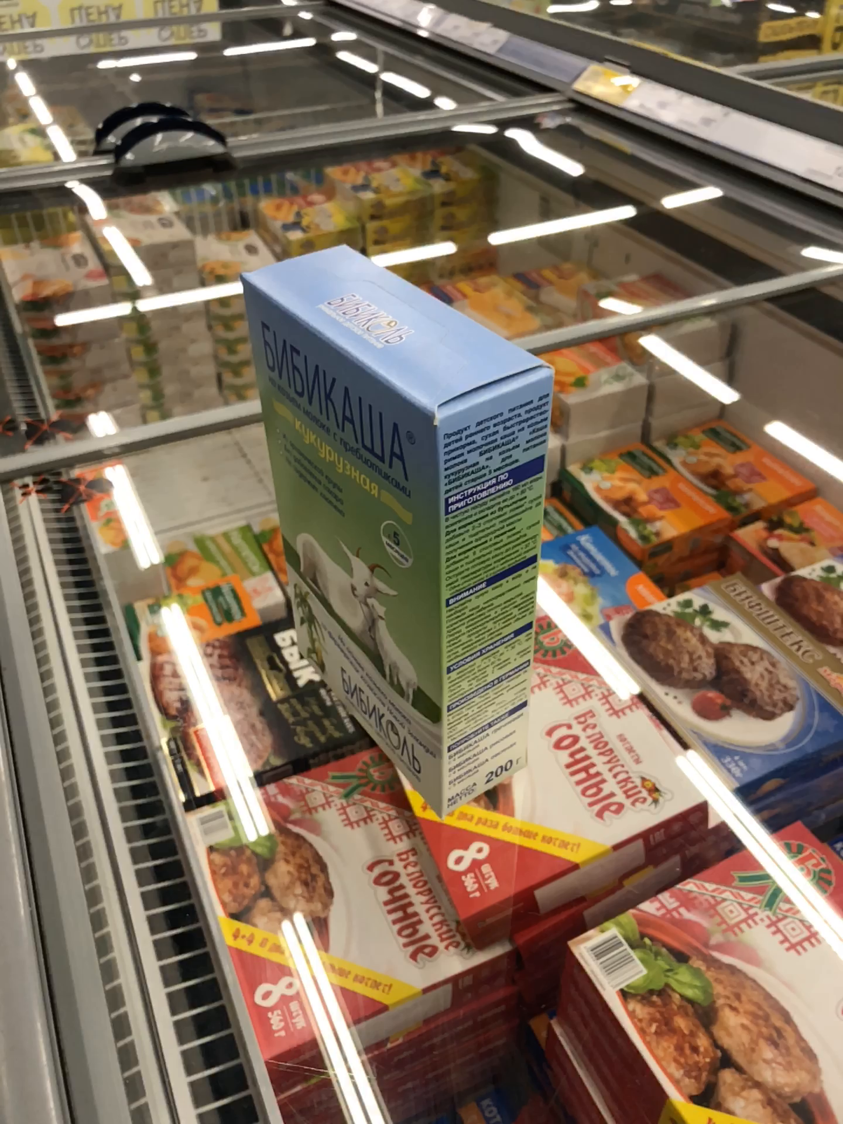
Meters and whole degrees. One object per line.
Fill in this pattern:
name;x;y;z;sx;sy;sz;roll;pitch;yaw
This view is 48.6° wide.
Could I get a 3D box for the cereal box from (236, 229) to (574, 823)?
cereal box;-0.010;-0.013;0.387;0.050;0.199;0.141;-23;43;-25
